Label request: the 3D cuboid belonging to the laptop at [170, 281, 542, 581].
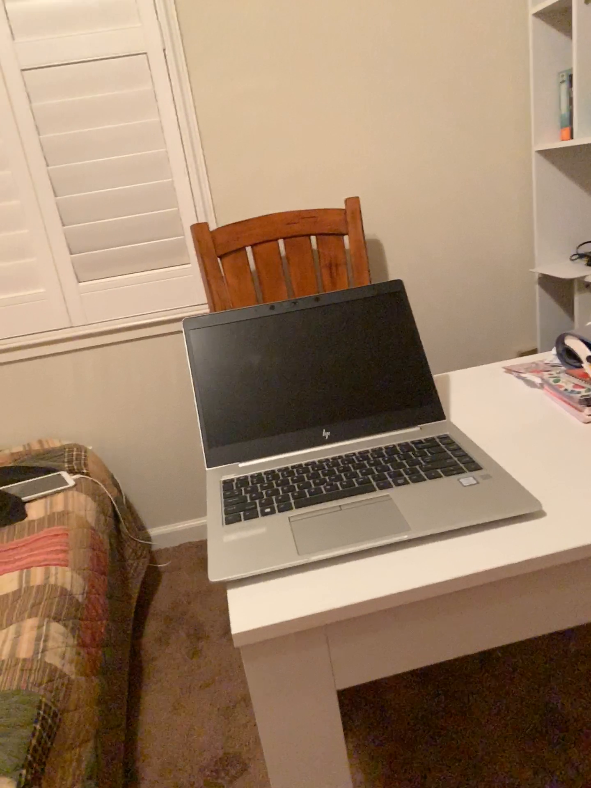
[{"bbox_3d":[0.037,0.001,0.688,0.310,0.159,0.366,-11,19,-6],"label":"laptop"}]
